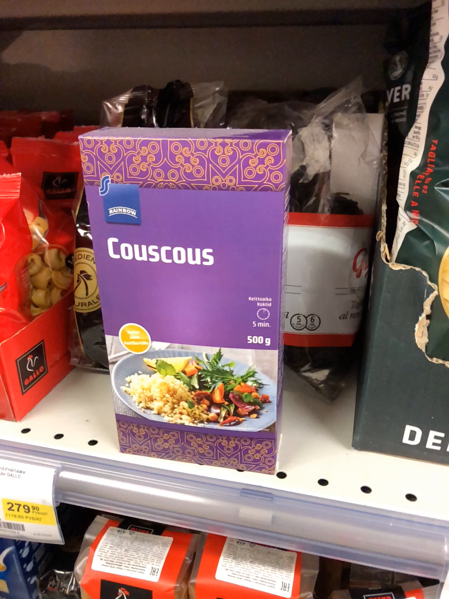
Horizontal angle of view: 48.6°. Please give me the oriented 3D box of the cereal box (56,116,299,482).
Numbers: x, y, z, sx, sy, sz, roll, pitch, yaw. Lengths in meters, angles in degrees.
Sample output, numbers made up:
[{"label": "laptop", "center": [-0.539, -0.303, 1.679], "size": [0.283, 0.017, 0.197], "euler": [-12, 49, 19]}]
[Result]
[{"label": "cereal box", "center": [-0.020, 0.005, 0.281], "size": [0.110, 0.199, 0.040], "euler": [5, 25, 11]}]
